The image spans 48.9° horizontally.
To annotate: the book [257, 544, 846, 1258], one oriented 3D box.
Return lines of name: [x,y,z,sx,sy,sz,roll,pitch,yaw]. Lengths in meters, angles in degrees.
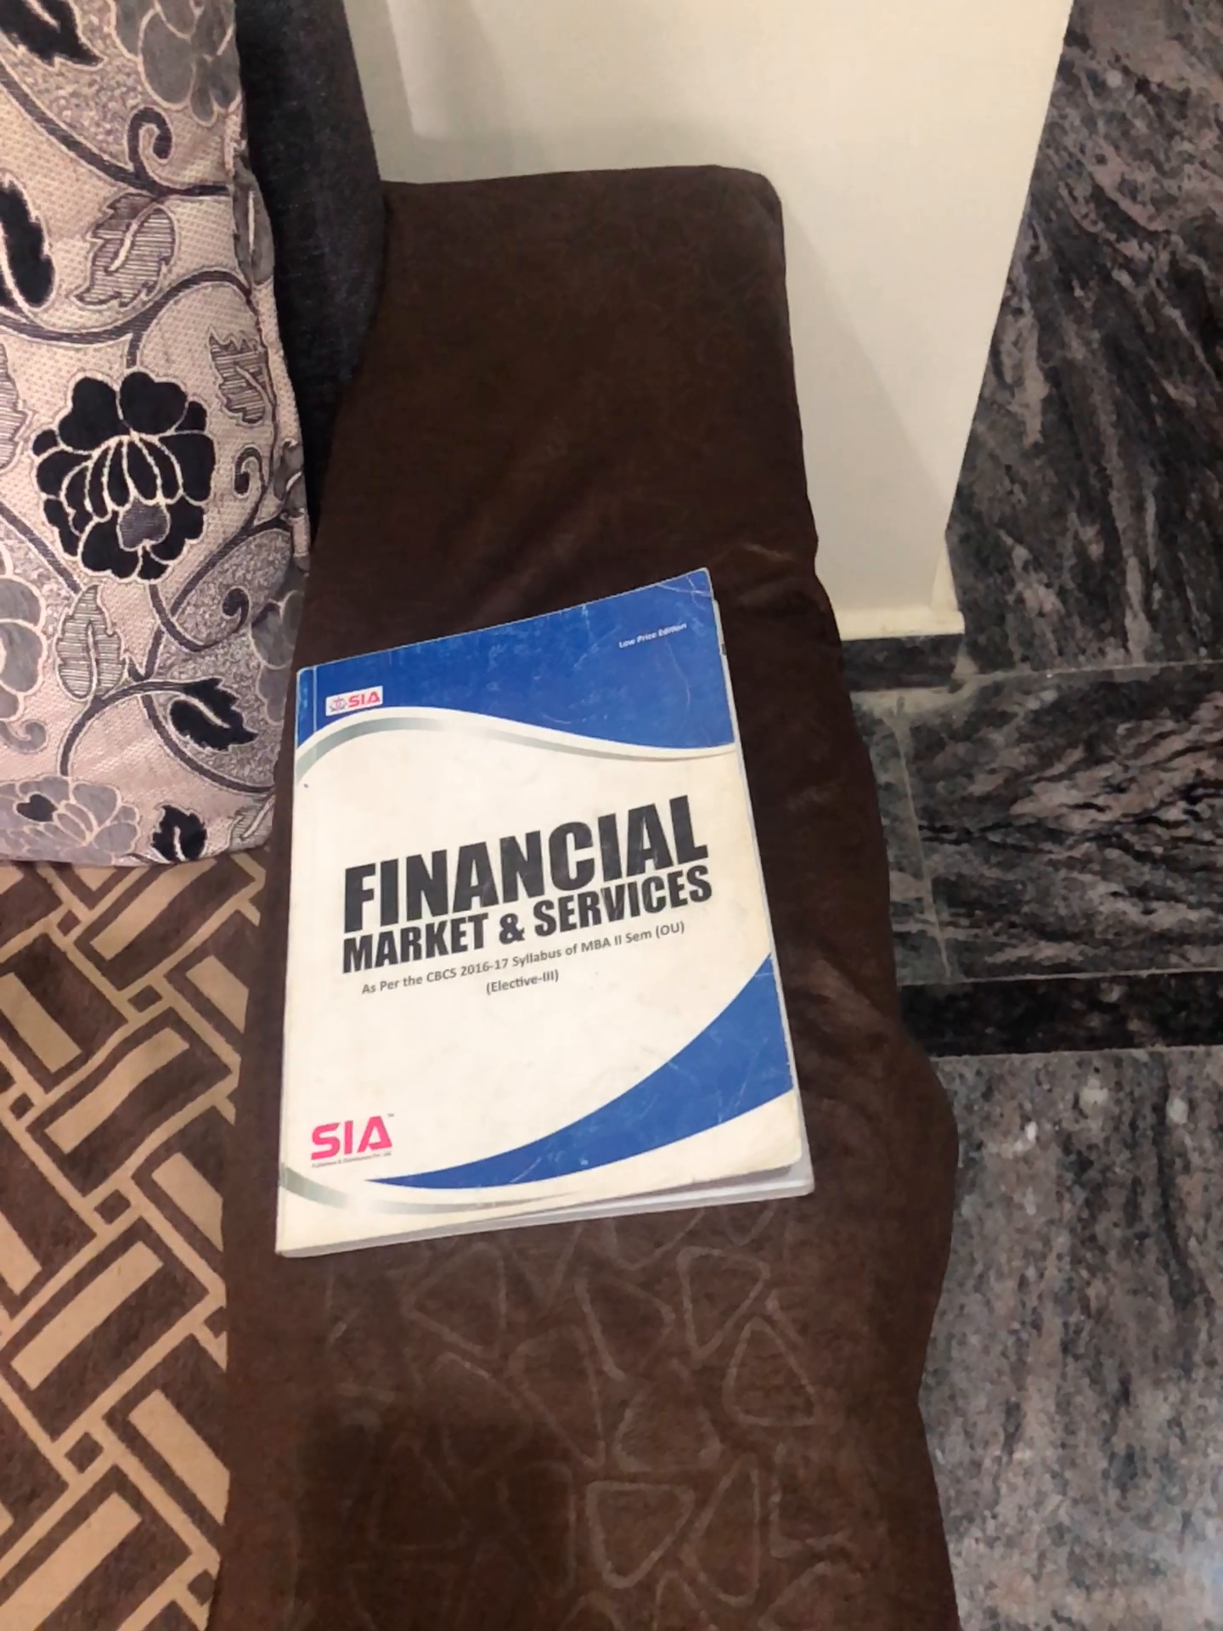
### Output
book: [-0.039,0.022,0.592,0.220,0.040,0.300,-8,59,0]
